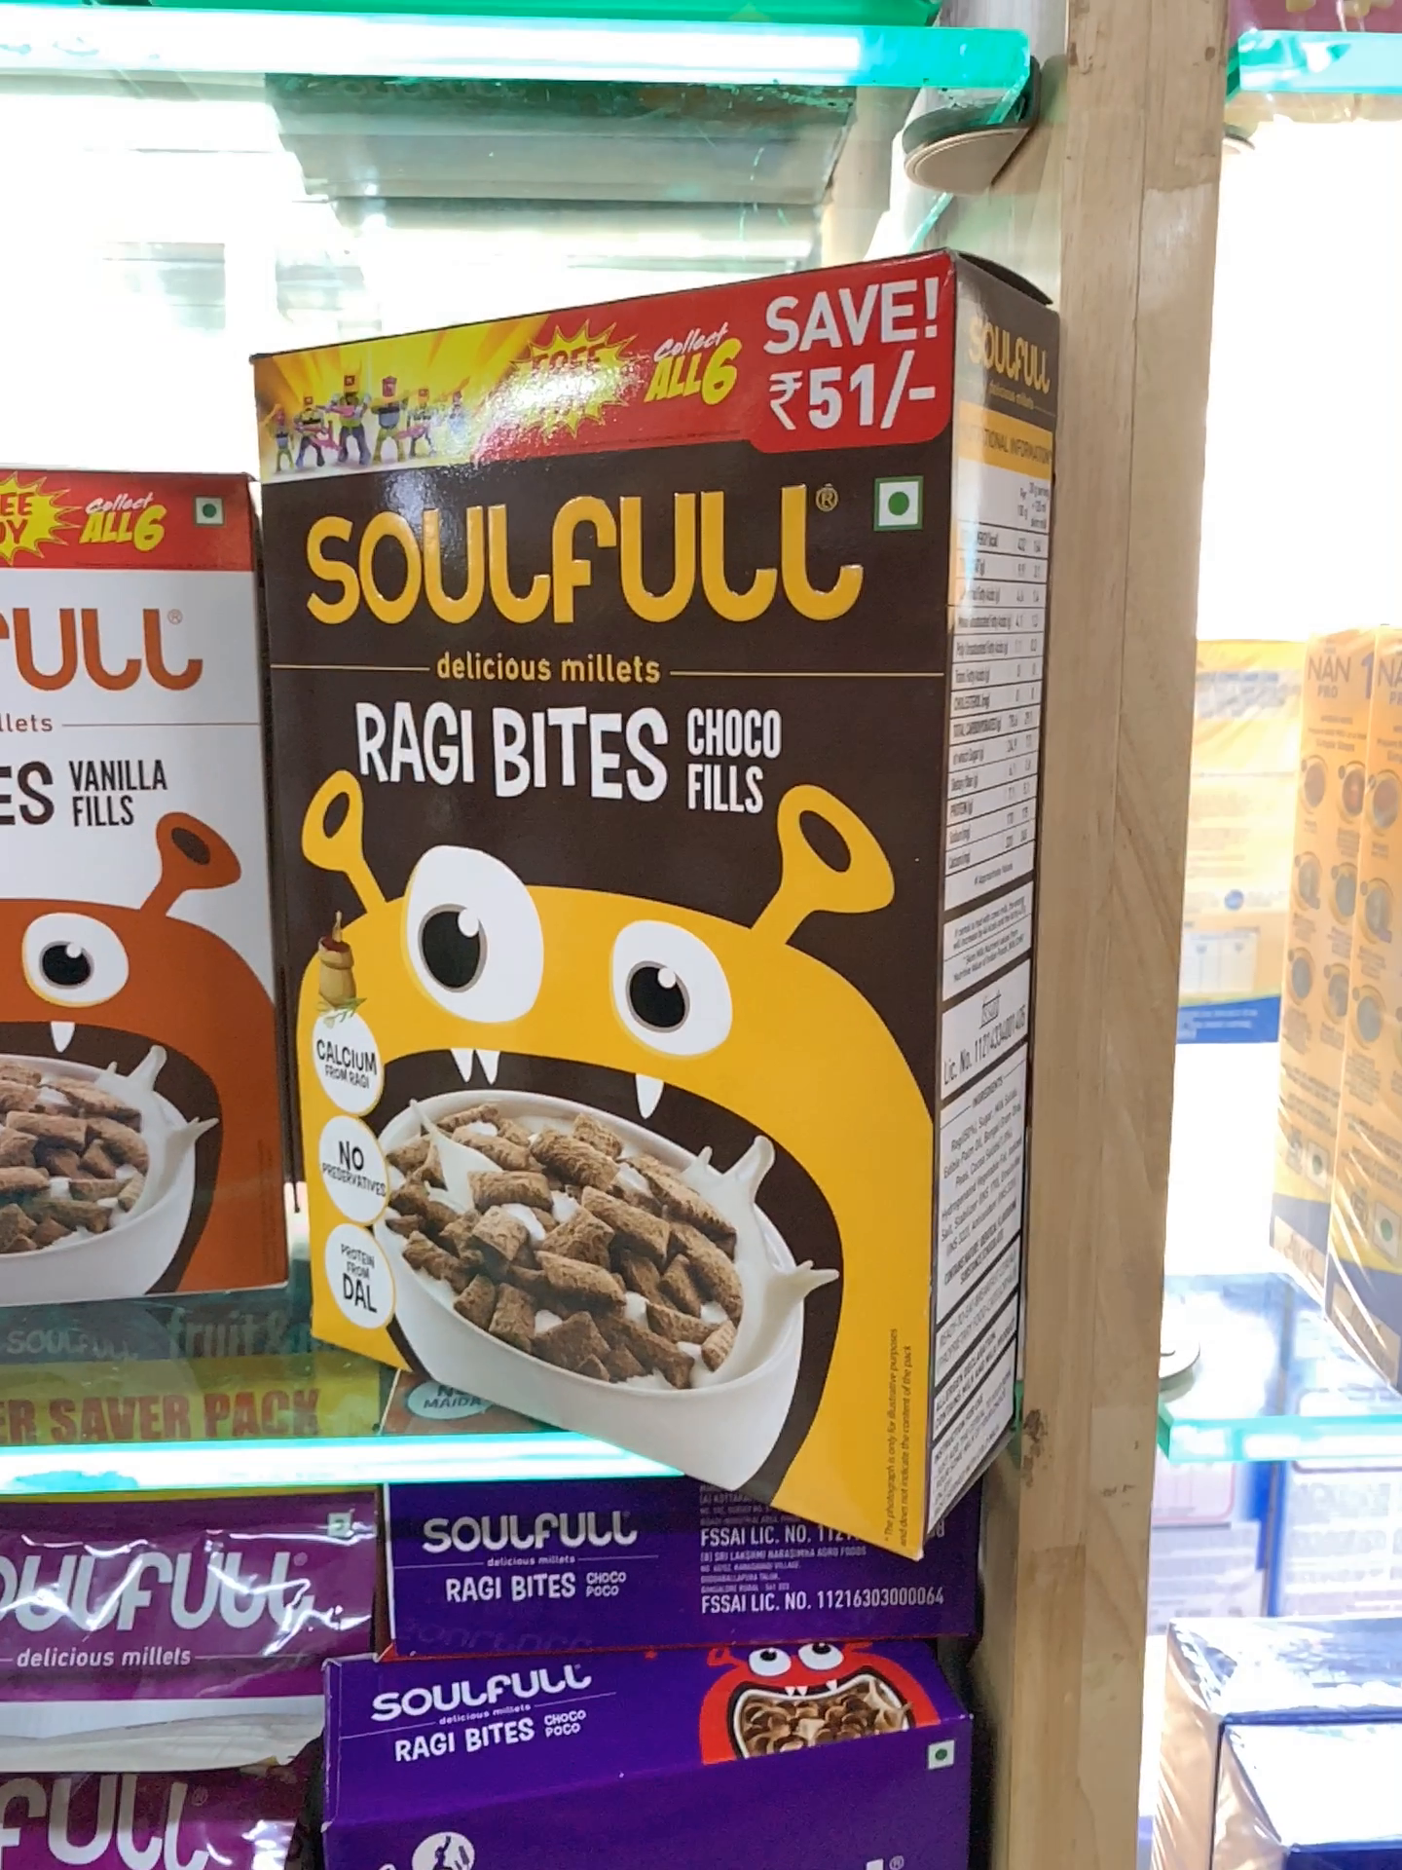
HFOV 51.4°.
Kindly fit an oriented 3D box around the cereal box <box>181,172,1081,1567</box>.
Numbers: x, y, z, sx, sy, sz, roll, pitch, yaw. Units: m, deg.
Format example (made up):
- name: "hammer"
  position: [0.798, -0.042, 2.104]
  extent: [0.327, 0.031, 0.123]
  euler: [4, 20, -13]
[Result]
- name: "cereal box"
  position: [-0.023, -0.016, 0.325]
  extent: [0.190, 0.239, 0.060]
  euler: [7, 12, 34]
